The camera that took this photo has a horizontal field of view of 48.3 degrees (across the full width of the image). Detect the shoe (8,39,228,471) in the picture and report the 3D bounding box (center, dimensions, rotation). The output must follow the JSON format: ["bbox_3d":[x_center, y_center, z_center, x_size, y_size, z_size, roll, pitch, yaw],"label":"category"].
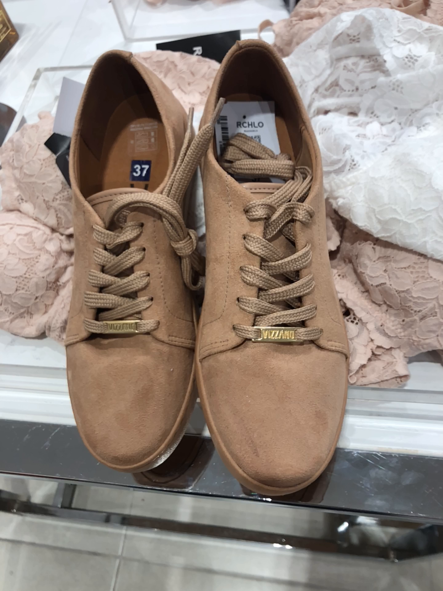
[{"bbox_3d":[-0.052,-0.023,0.320,0.090,0.100,0.240,0,78,10],"label":"shoe"}]

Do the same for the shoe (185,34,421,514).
[{"bbox_3d":[0.029,-0.014,0.288,0.090,0.100,0.241,-1,74,-7],"label":"shoe"}]
